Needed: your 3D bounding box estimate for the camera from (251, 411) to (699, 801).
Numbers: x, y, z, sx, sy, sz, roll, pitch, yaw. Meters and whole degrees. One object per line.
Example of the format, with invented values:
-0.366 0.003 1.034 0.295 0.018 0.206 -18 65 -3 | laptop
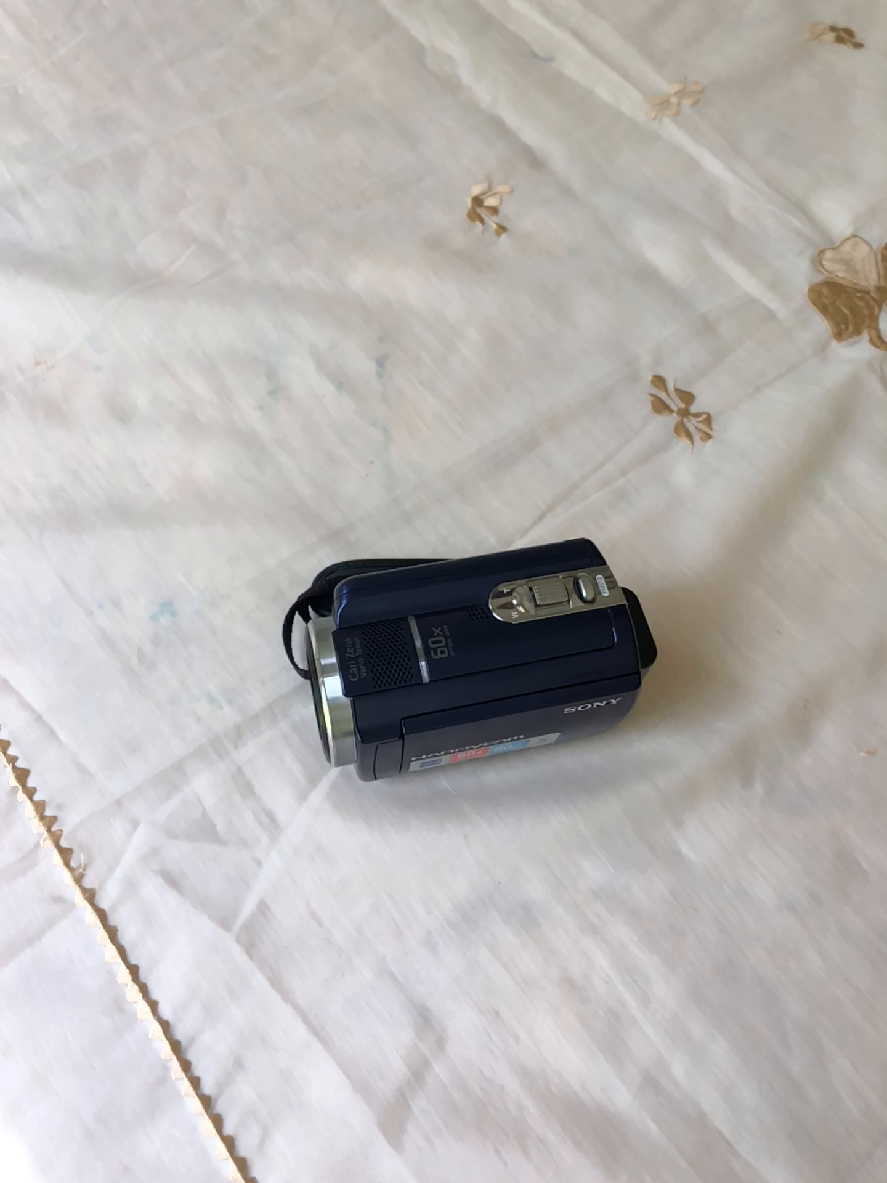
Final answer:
0.005 0.005 0.330 0.119 0.070 0.090 -10 63 -9 | camera
